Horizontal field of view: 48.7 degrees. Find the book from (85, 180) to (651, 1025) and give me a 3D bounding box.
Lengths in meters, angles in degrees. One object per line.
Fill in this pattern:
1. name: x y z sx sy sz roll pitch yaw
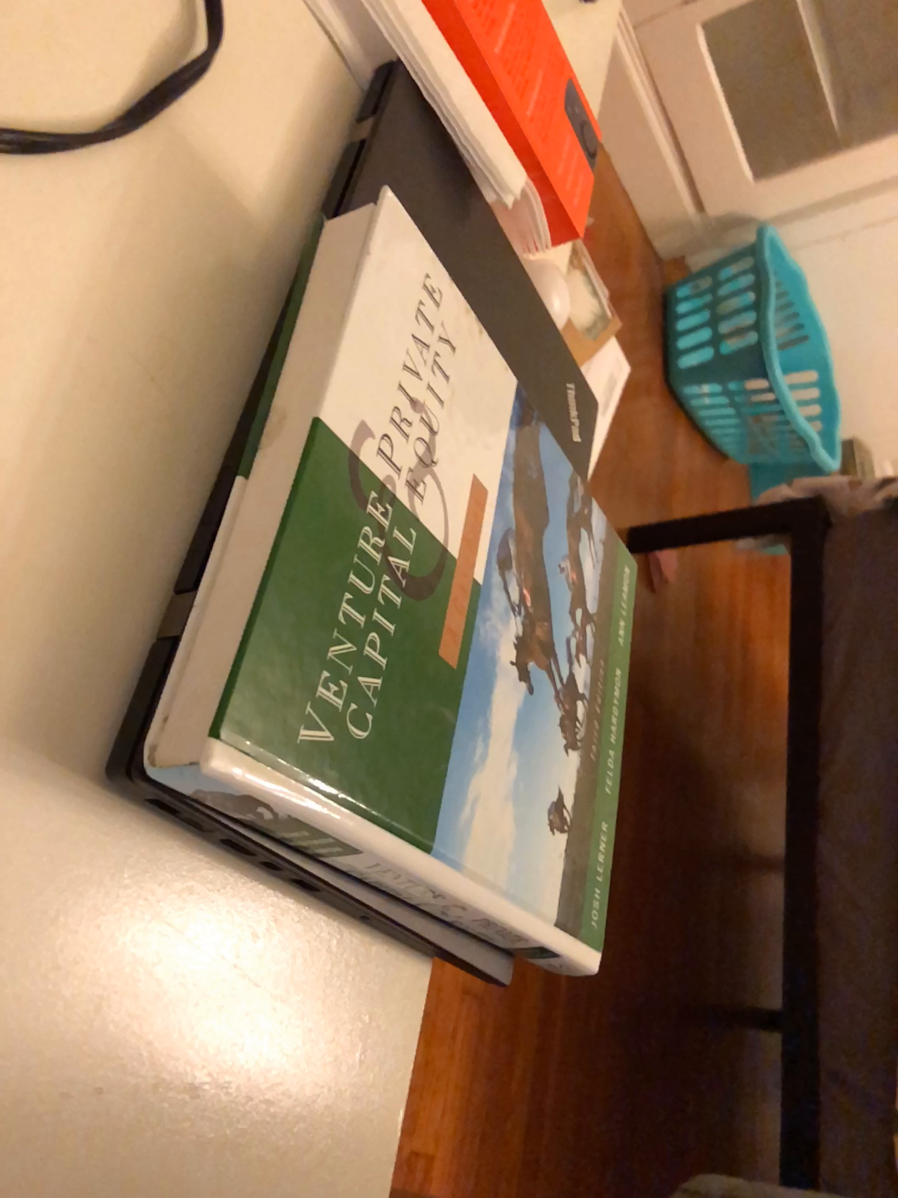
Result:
1. book: 0.009 0.022 0.384 0.271 0.030 0.220 44 47 -46
